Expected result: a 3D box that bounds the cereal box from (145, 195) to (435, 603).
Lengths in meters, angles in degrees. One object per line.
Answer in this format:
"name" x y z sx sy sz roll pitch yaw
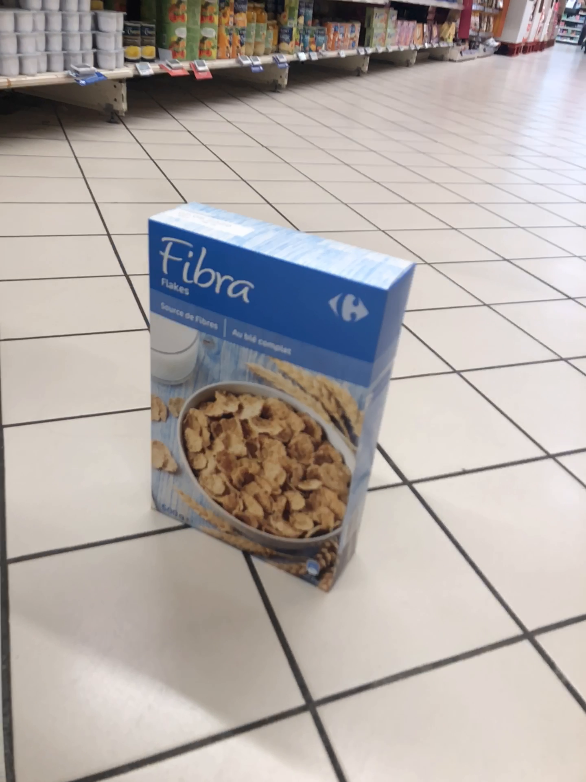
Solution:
"cereal box" -0.020 0.011 0.533 0.200 0.288 0.071 20 33 20
